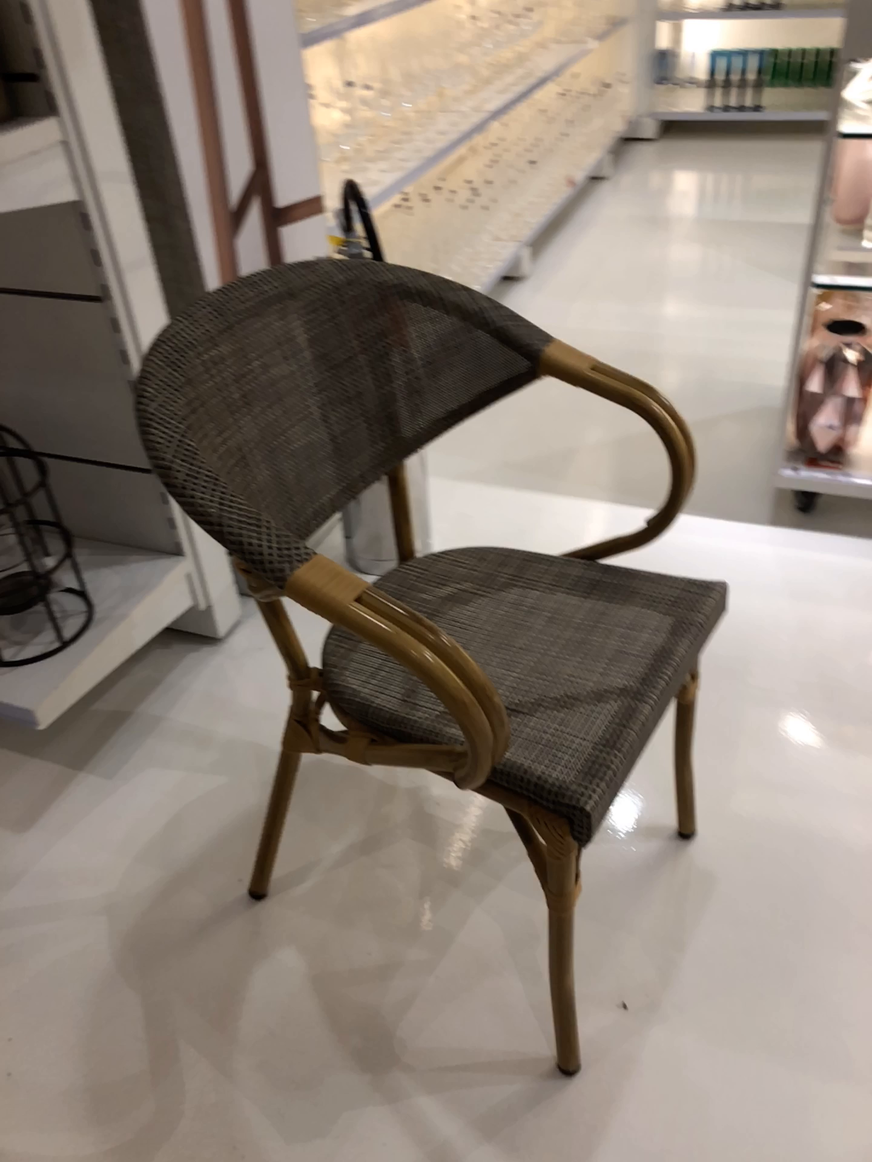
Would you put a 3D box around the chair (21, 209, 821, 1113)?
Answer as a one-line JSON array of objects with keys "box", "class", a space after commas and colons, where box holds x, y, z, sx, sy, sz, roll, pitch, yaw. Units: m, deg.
[{"box": [0.032, 0.060, 1.139, 0.571, 0.783, 0.523, 17, 42, 28], "class": "chair"}]
